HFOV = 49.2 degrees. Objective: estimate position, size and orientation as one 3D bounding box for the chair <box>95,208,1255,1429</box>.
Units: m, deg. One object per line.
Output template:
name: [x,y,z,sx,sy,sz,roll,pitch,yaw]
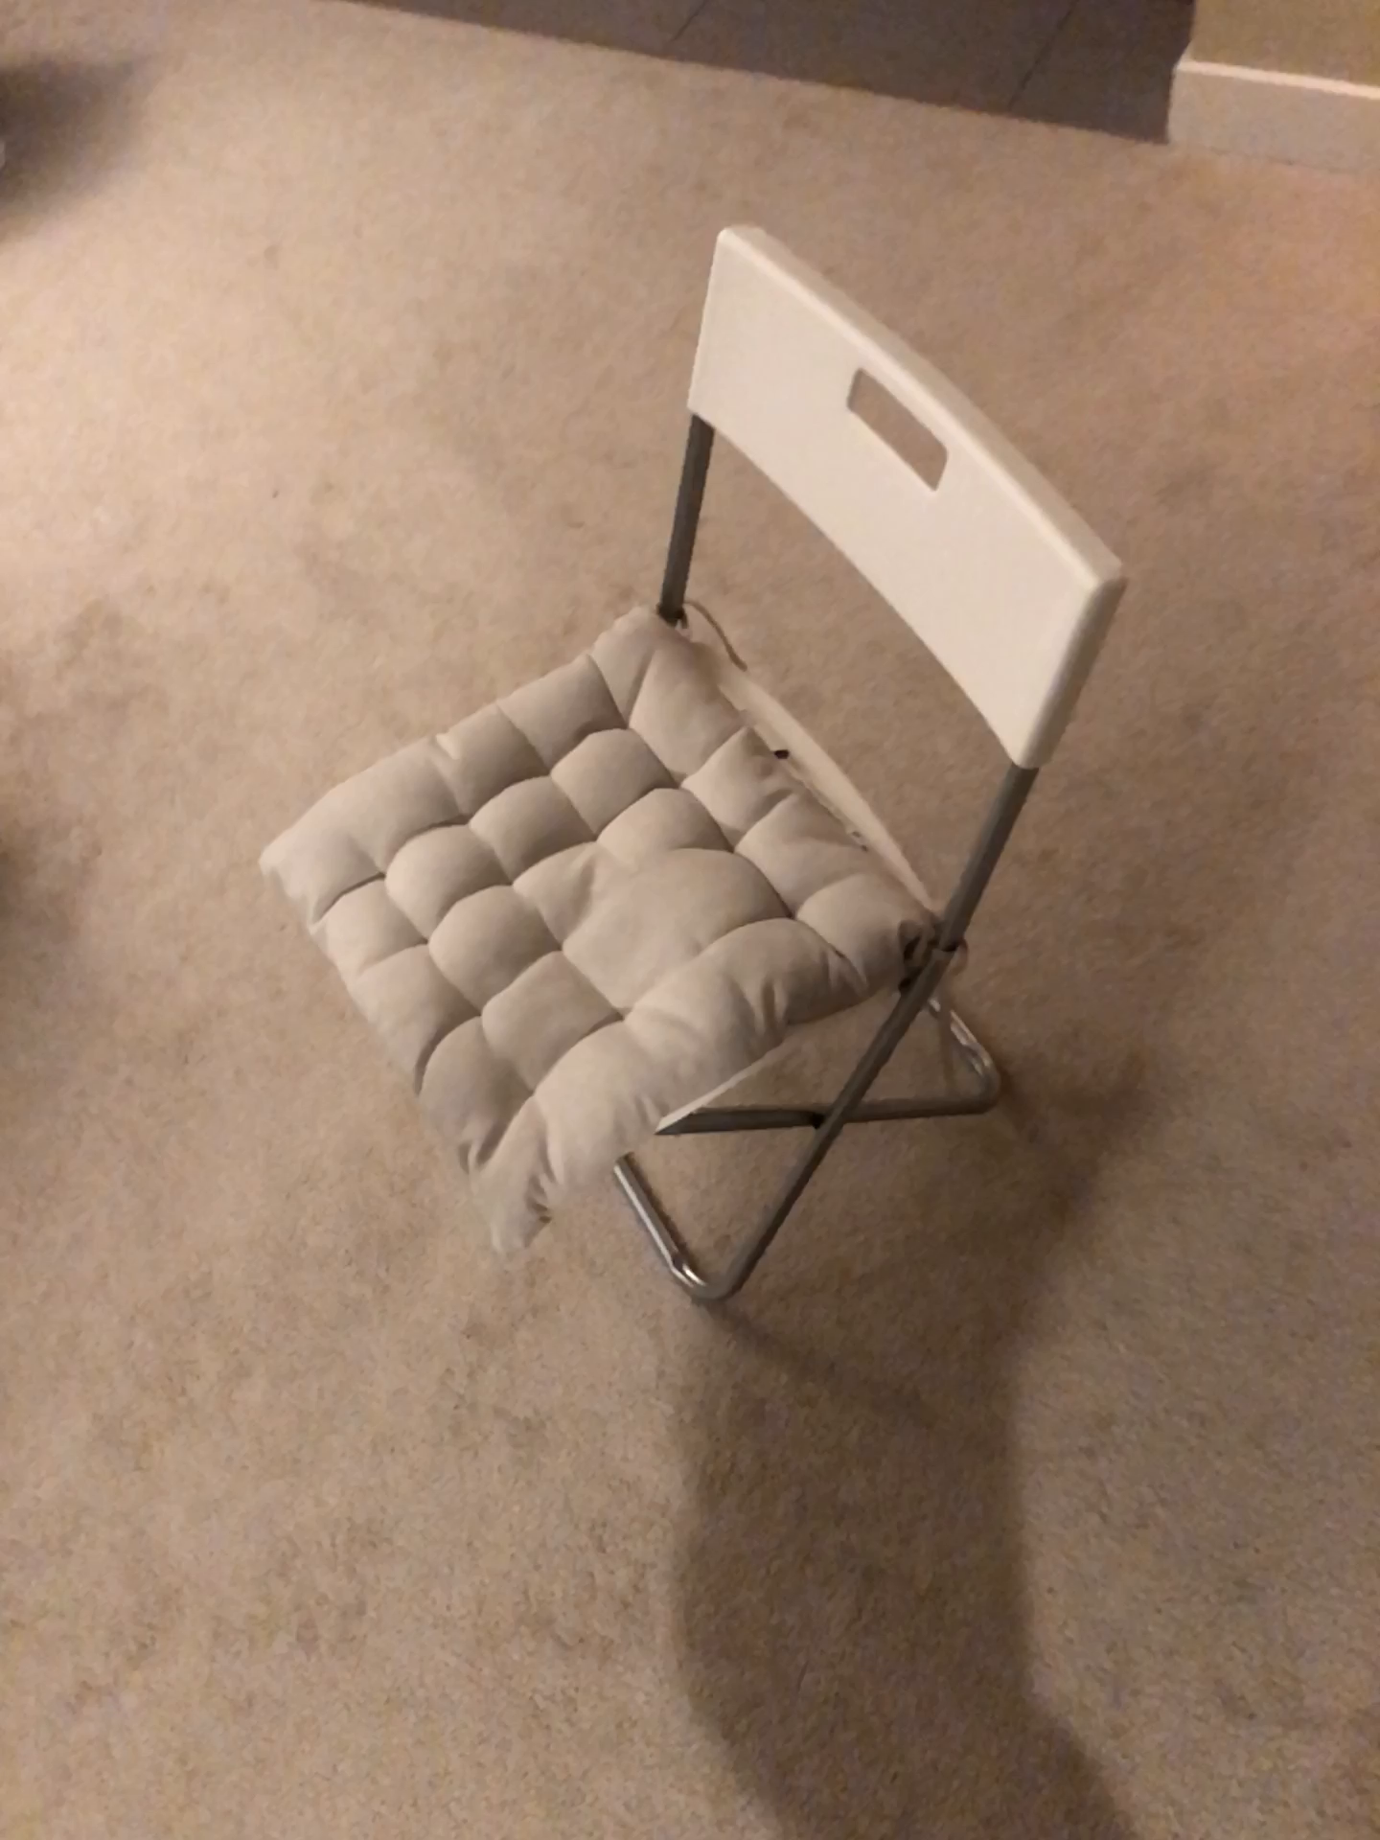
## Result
chair: [0.008,-0.037,1.216,0.540,0.668,0.511,-31,59,-9]
